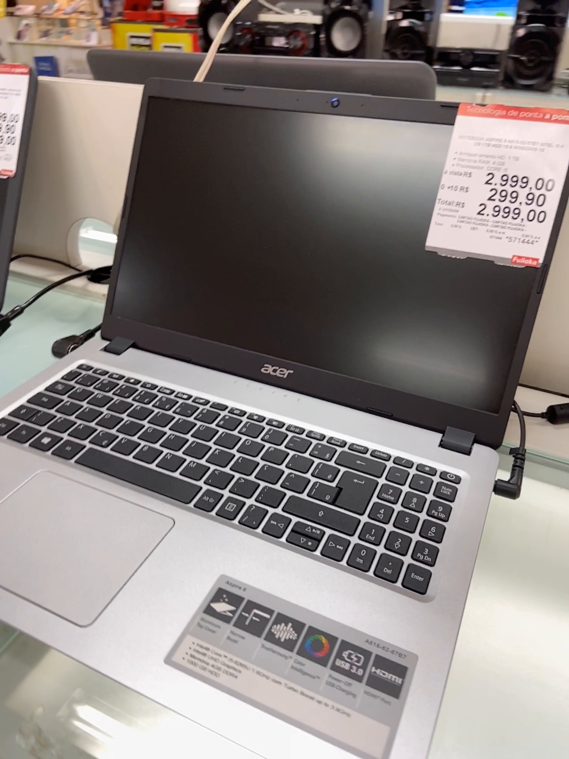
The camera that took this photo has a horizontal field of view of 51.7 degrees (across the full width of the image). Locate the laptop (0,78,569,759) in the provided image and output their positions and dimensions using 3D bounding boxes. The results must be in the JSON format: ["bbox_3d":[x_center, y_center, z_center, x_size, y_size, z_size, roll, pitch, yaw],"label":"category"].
[{"bbox_3d":[-0.039,-0.050,0.381,0.366,0.205,0.374,15,36,21],"label":"laptop"}]
